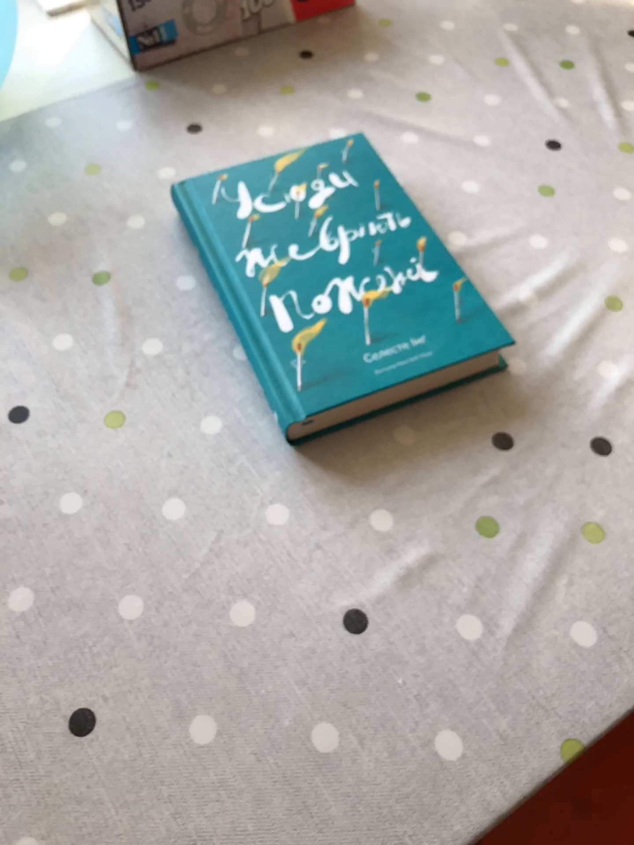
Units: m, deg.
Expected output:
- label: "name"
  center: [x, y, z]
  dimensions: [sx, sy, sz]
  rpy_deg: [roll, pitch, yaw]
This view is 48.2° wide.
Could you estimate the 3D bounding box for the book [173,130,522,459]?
- label: "book"
  center: [0.010, -0.096, 0.464]
  dimensions: [0.143, 0.040, 0.214]
  rpy_deg: [-20, 60, -13]
